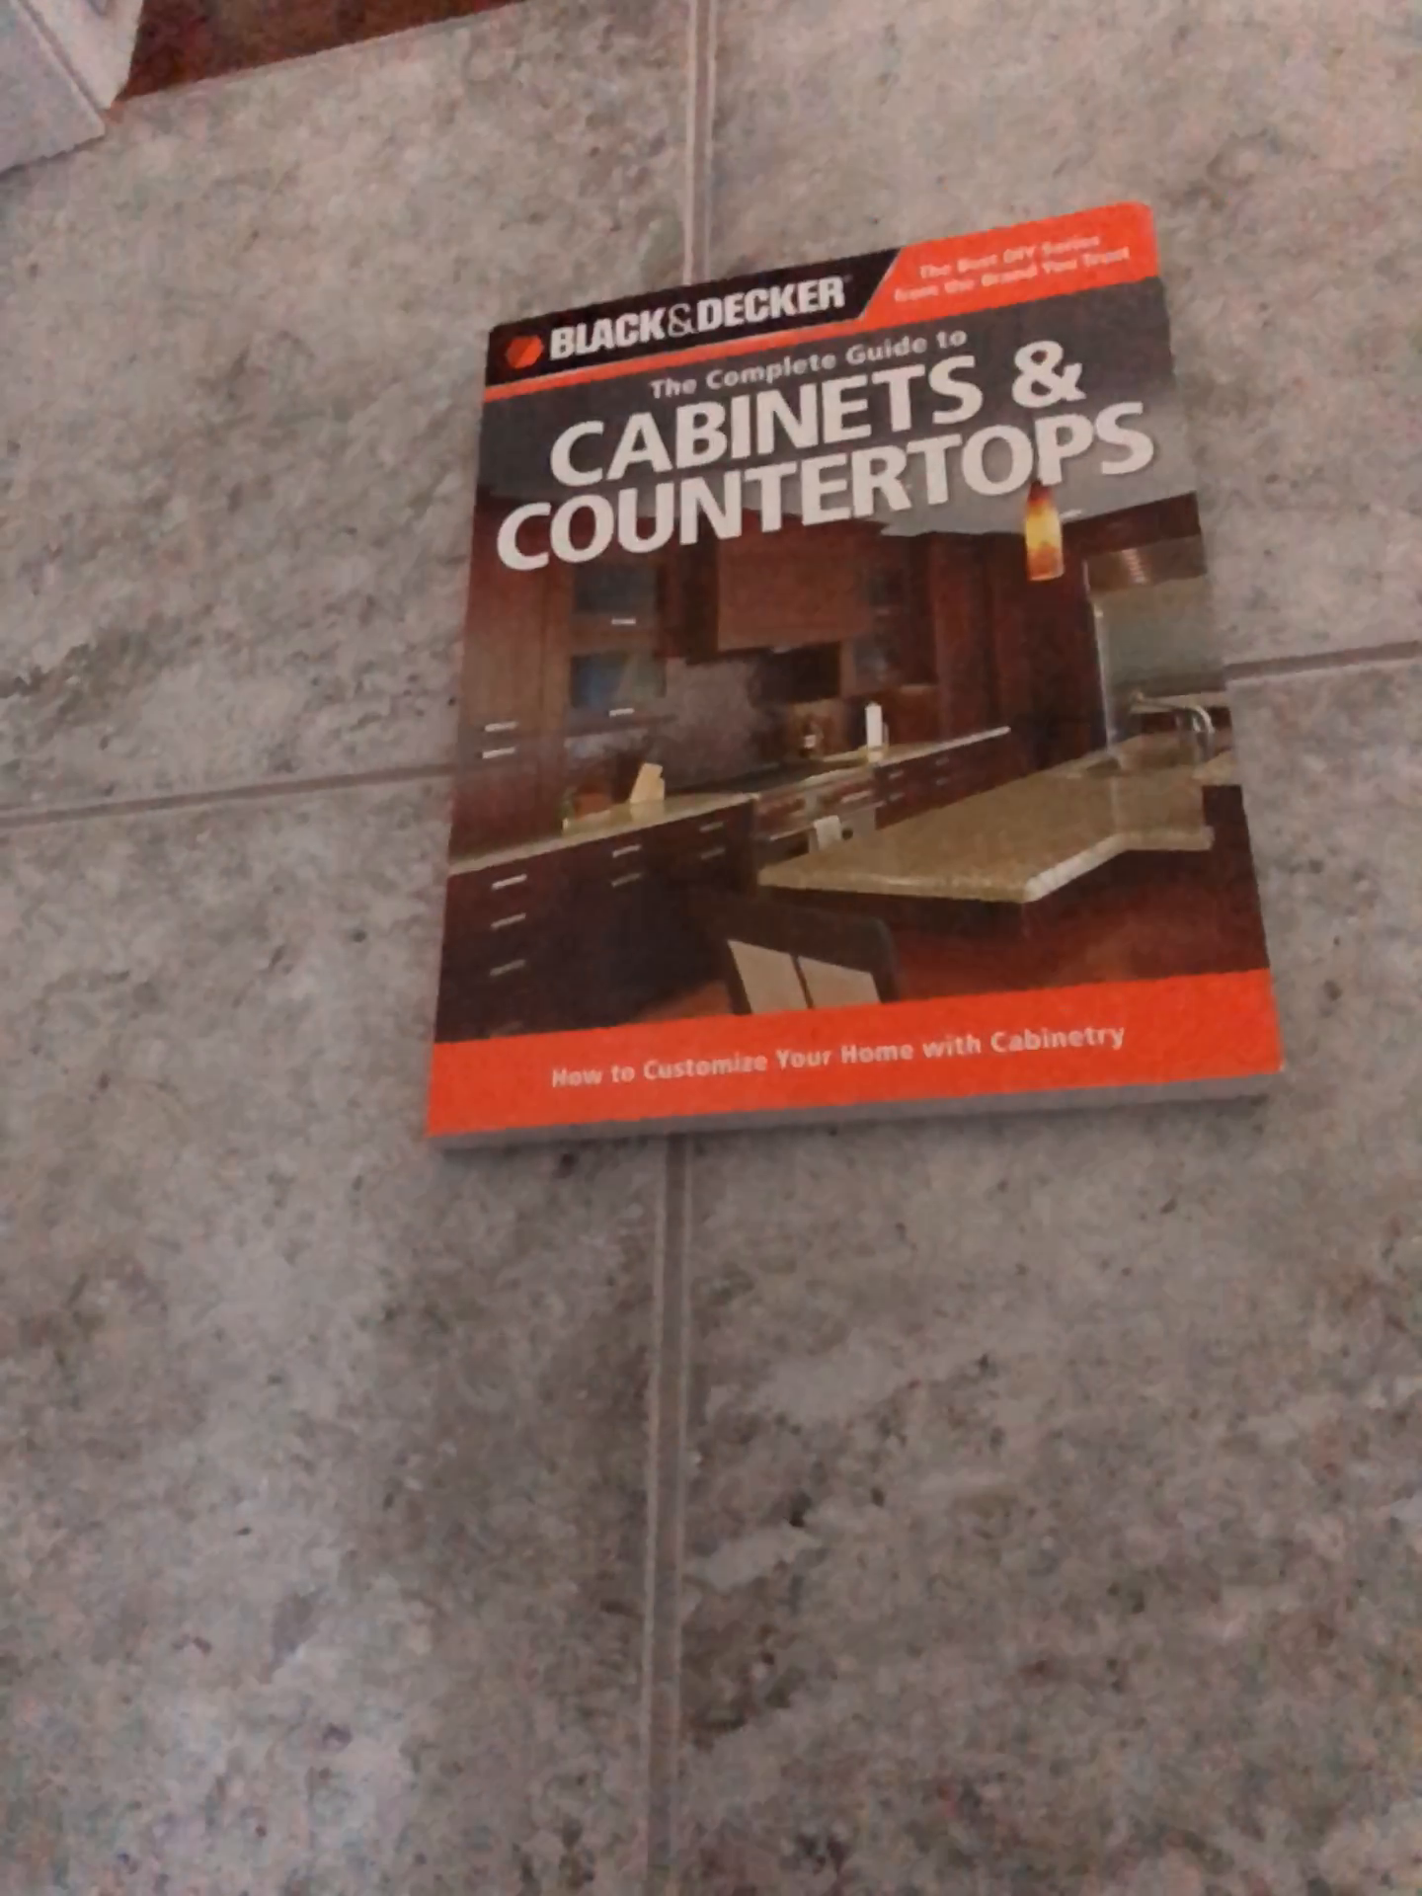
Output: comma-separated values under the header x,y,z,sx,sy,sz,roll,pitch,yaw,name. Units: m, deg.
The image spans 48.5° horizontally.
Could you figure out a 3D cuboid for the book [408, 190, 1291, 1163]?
x,y,z,sx,sy,sz,roll,pitch,yaw,name
0.031,-0.084,0.448,0.216,0.022,0.281,-5,65,13,book
